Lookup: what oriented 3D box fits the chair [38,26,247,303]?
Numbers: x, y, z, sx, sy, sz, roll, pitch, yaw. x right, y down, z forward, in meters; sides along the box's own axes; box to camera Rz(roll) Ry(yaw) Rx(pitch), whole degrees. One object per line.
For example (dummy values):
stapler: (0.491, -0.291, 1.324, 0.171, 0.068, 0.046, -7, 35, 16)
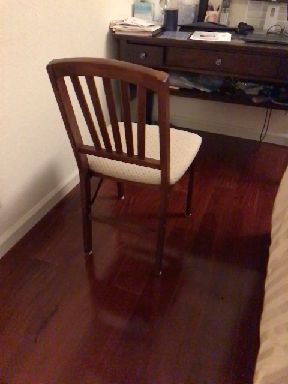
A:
chair: (0.053, -0.167, 1.368, 0.530, 0.893, 0.726, 13, 36, 16)
